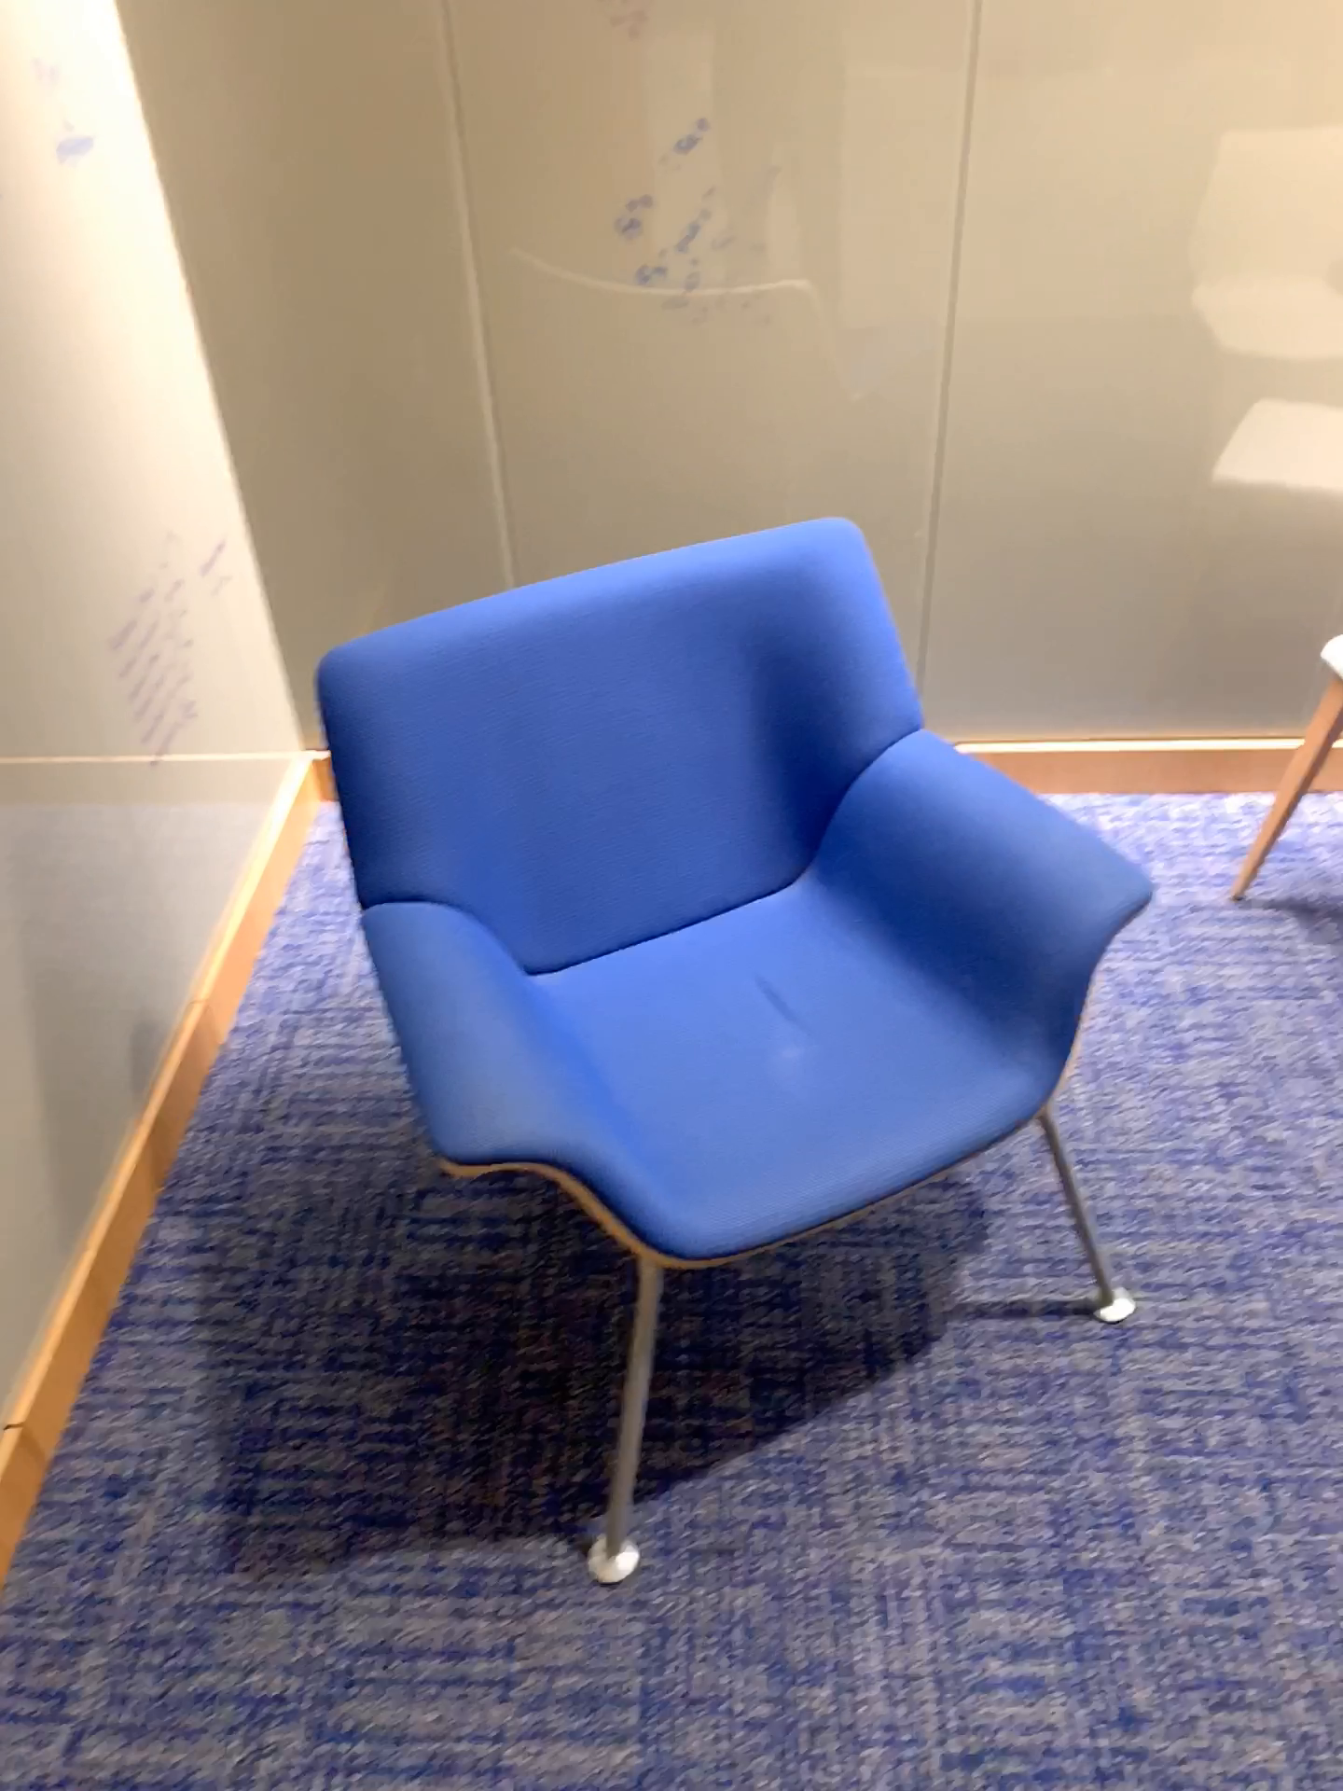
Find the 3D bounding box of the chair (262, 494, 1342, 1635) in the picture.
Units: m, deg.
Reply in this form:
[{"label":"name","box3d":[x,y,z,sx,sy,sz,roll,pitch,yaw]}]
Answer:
[{"label":"chair","box3d":[0.108,0.116,1.503,0.790,0.711,0.744,-19,42,-19]}]
